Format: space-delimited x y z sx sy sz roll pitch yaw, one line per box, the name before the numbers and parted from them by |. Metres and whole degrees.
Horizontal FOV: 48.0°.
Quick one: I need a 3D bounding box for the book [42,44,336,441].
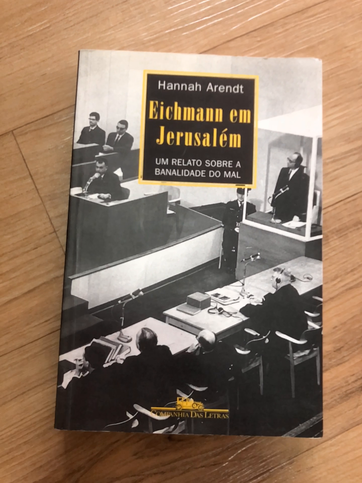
book | 0.007 -0.003 0.222 0.144 0.023 0.202 2 84 -1
